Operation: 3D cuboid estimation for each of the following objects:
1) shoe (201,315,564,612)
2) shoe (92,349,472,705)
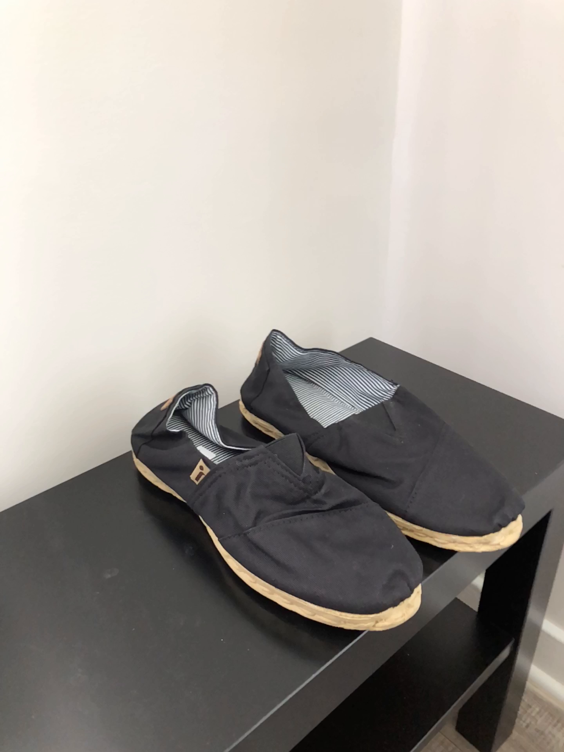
[{"bbox_3d":[0.060,0.045,0.487,0.101,0.080,0.275,-25,38,-34],"label":"shoe"},{"bbox_3d":[-0.018,0.079,0.441,0.101,0.080,0.275,-25,38,-34],"label":"shoe"}]
